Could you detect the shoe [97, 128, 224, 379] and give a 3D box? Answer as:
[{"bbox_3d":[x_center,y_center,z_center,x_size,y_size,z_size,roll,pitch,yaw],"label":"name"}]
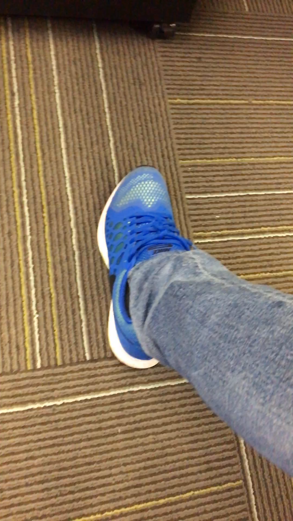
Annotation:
[{"bbox_3d":[0.005,-0.006,0.552,0.120,0.110,0.290,2,69,-14],"label":"shoe"}]
